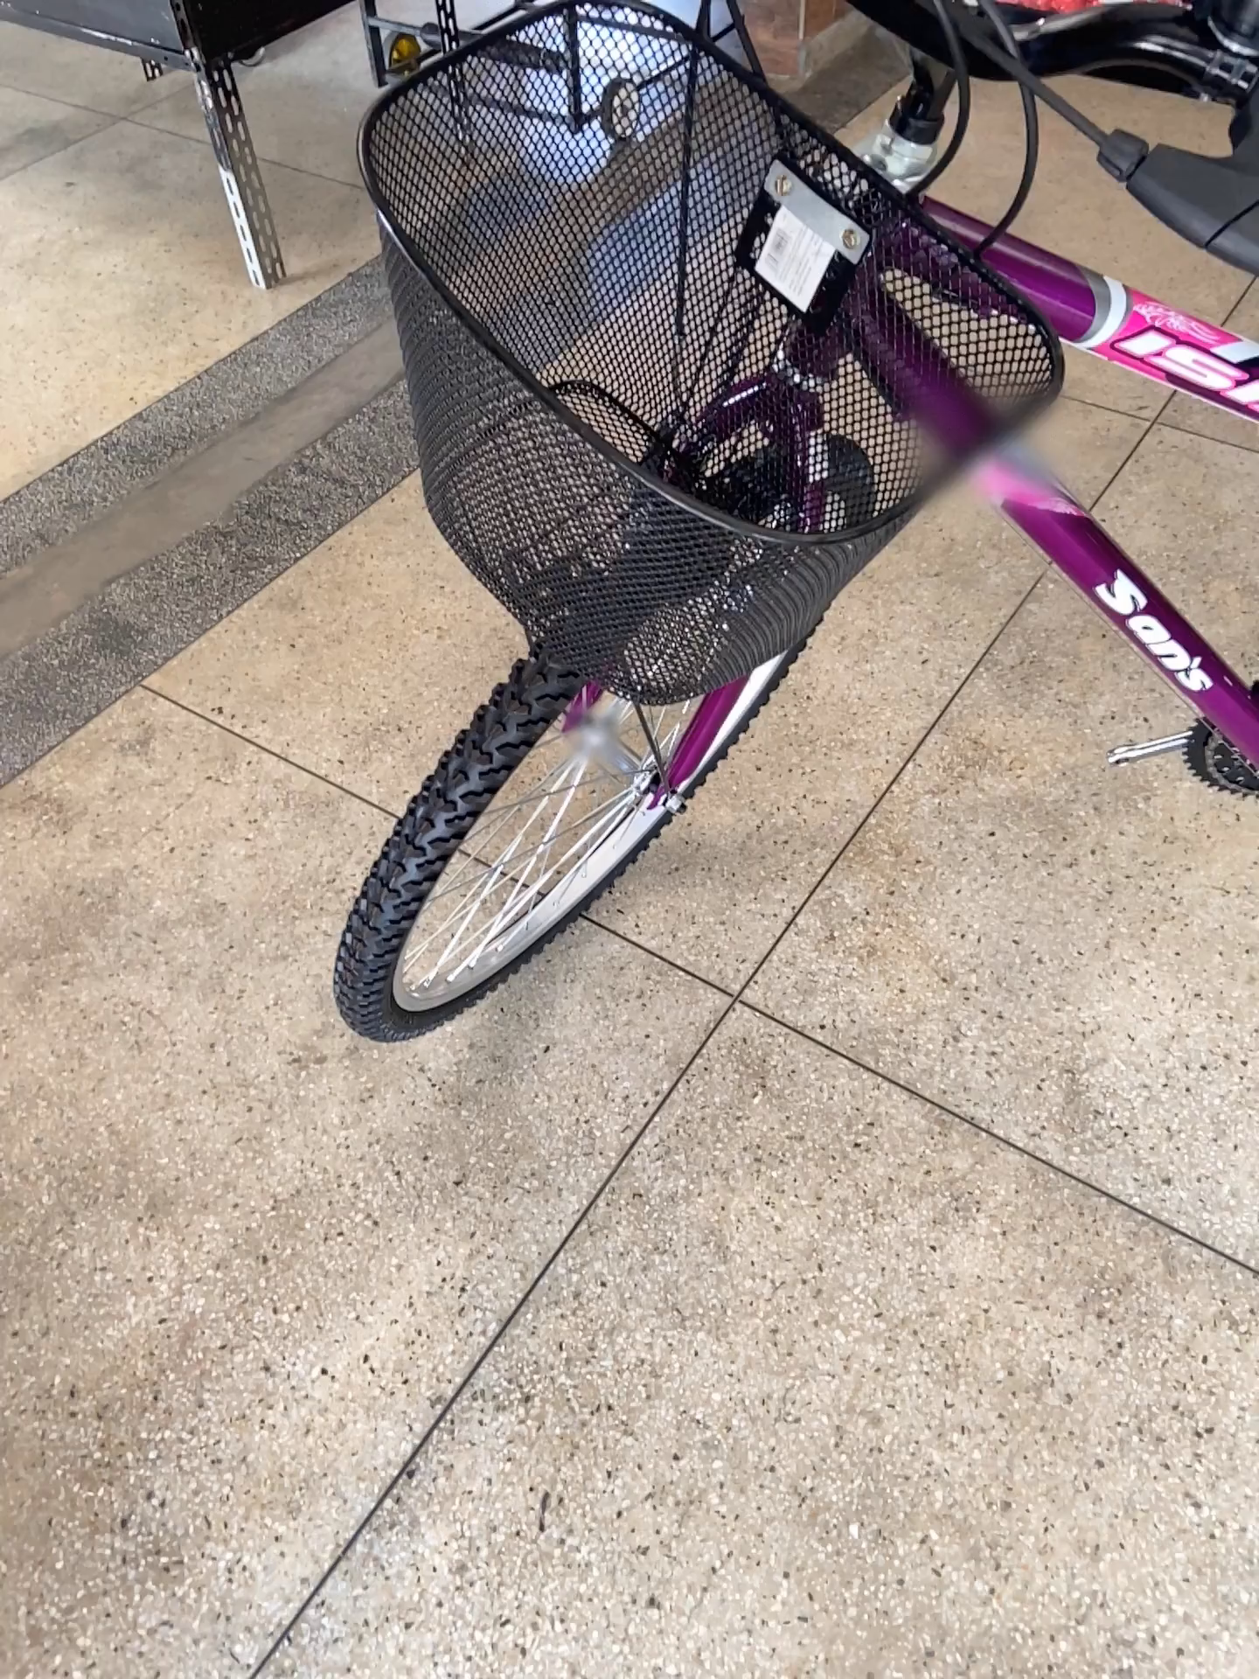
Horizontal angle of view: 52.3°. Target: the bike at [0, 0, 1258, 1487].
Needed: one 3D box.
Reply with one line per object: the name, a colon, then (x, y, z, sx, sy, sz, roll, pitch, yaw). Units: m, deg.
bike: (0.564, -0.129, 0.799, 1.522, 1.035, 0.575, -5, 50, -3)
